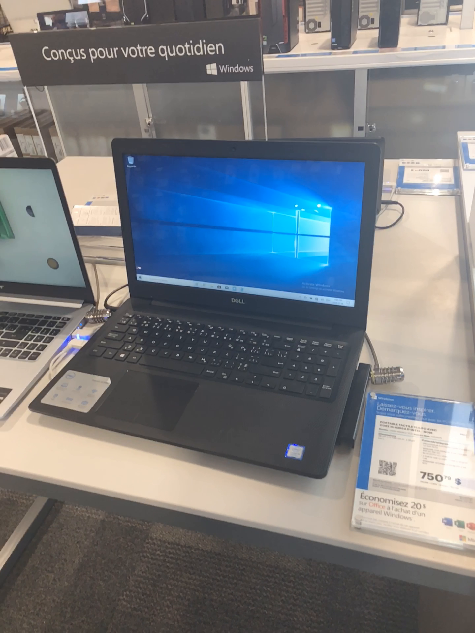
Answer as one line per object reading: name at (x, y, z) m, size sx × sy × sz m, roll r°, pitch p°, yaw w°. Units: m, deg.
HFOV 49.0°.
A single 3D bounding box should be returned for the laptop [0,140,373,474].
laptop at (-0.048, -0.047, 0.640) m, size 0.368 × 0.230 × 0.311 m, roll 8°, pitch 38°, yaw 19°
